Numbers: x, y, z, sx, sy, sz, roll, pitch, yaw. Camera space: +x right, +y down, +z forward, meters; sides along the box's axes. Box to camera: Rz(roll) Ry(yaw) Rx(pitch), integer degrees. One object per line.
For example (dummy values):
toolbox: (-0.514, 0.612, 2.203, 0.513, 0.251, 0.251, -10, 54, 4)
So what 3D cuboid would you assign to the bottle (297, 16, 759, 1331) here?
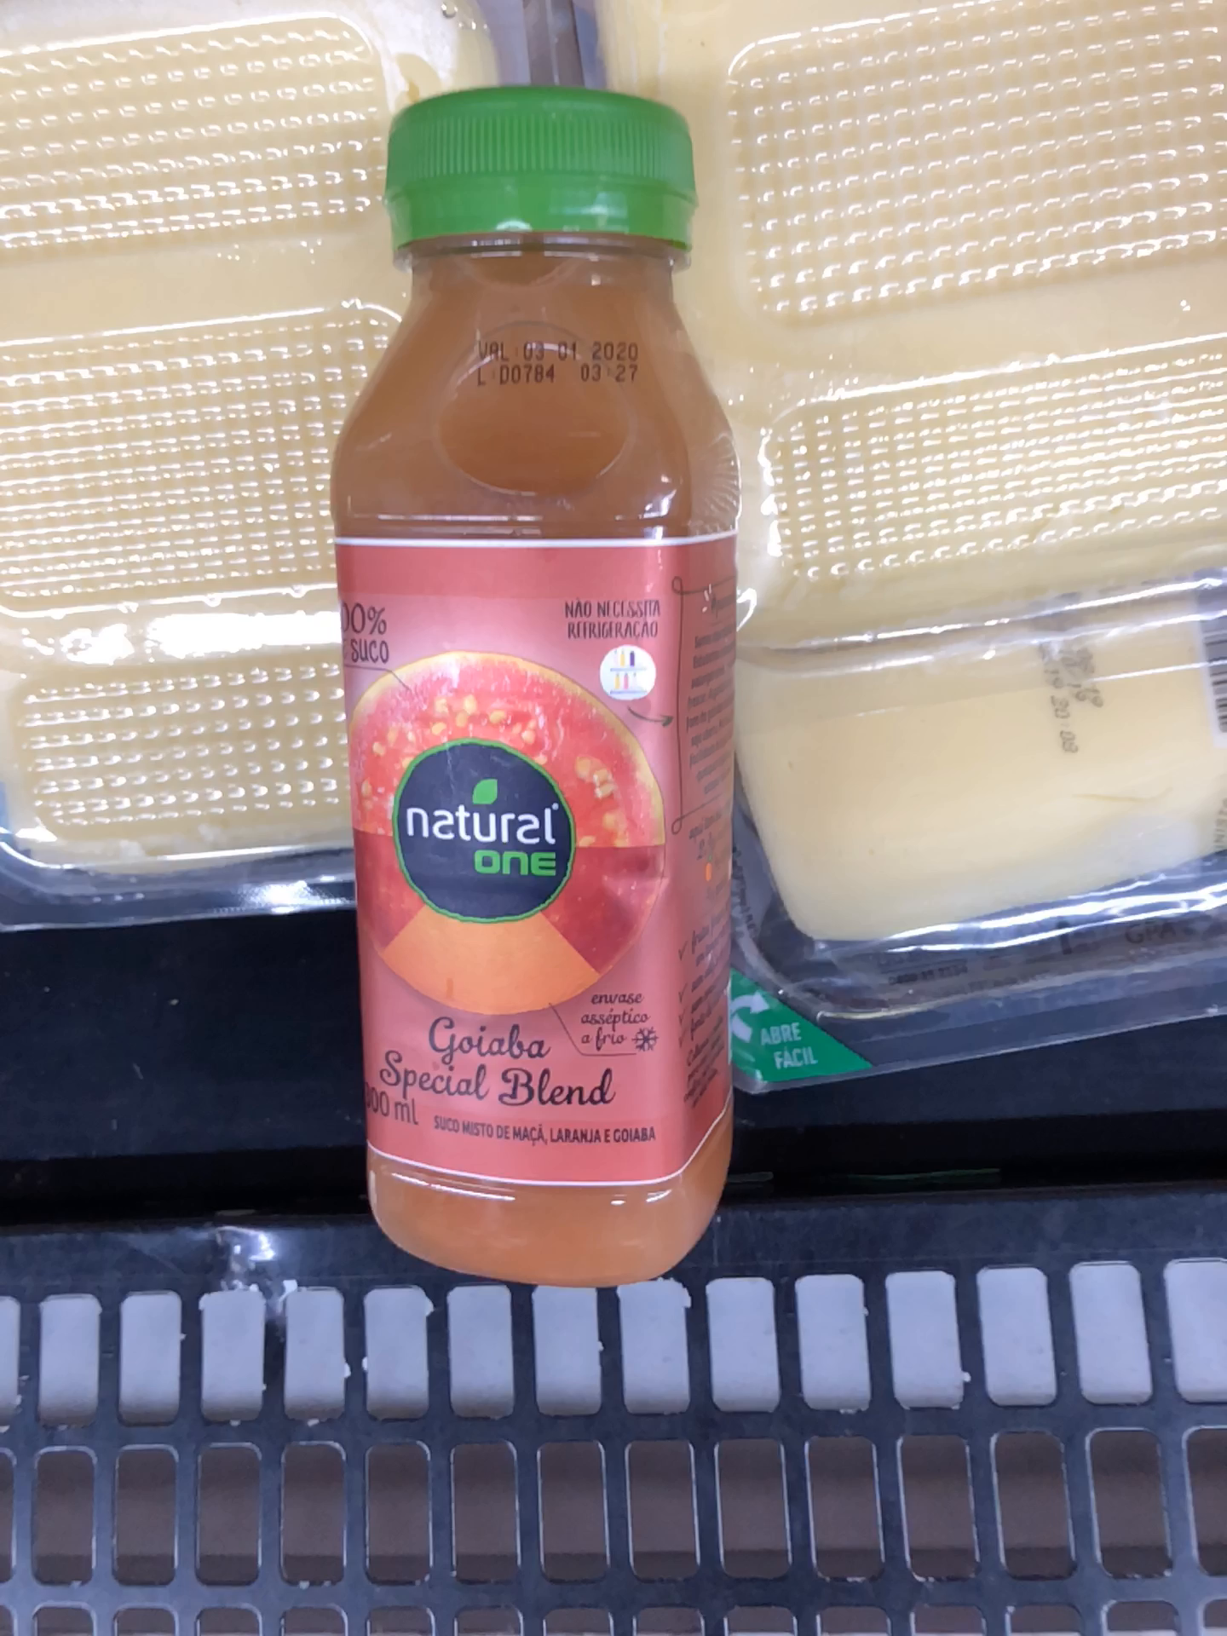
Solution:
bottle: (-0.009, -0.019, 0.228, 0.060, 0.070, 0.180, 1, 98, 7)
